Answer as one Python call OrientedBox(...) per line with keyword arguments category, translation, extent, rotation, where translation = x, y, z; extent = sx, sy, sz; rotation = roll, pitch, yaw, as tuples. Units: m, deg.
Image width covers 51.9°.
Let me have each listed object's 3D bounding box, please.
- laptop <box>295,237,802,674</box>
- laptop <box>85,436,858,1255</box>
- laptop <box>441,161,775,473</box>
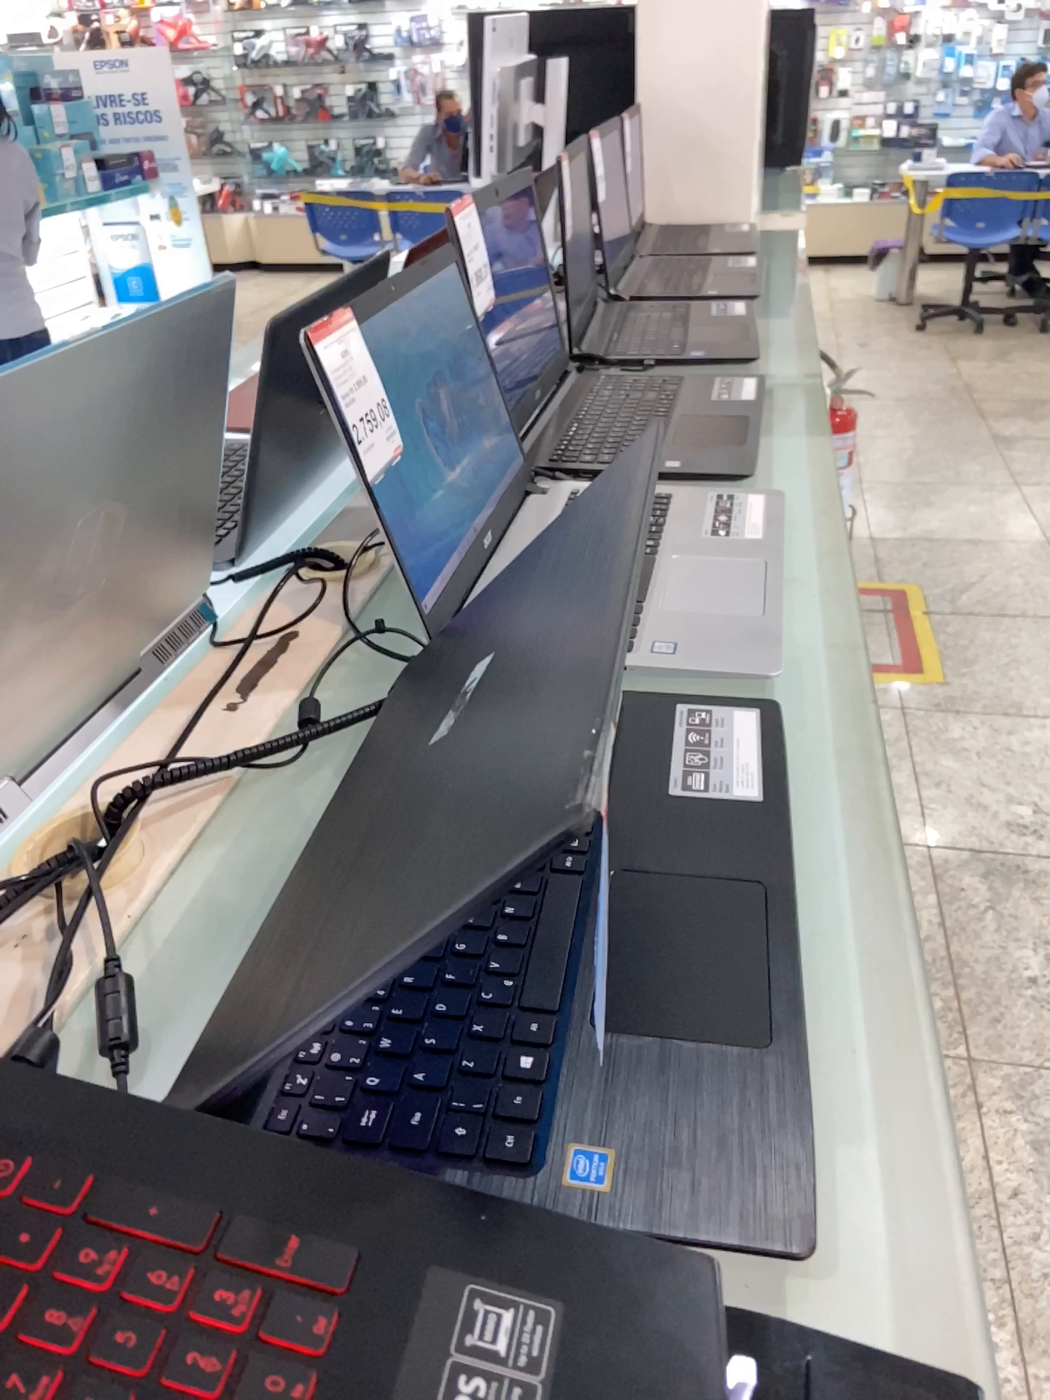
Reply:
OrientedBox(category="laptop", translation=(0.050, -0.218, 0.861), extent=(0.313, 0.227, 0.364), rotation=(4, 31, 12))
OrientedBox(category="laptop", translation=(0.013, 0.018, 0.515), extent=(0.229, 0.169, 0.377), rotation=(4, 31, 9))
OrientedBox(category="laptop", translation=(0.117, -0.449, 1.222), extent=(0.299, 0.249, 0.387), rotation=(4, 32, 12))
